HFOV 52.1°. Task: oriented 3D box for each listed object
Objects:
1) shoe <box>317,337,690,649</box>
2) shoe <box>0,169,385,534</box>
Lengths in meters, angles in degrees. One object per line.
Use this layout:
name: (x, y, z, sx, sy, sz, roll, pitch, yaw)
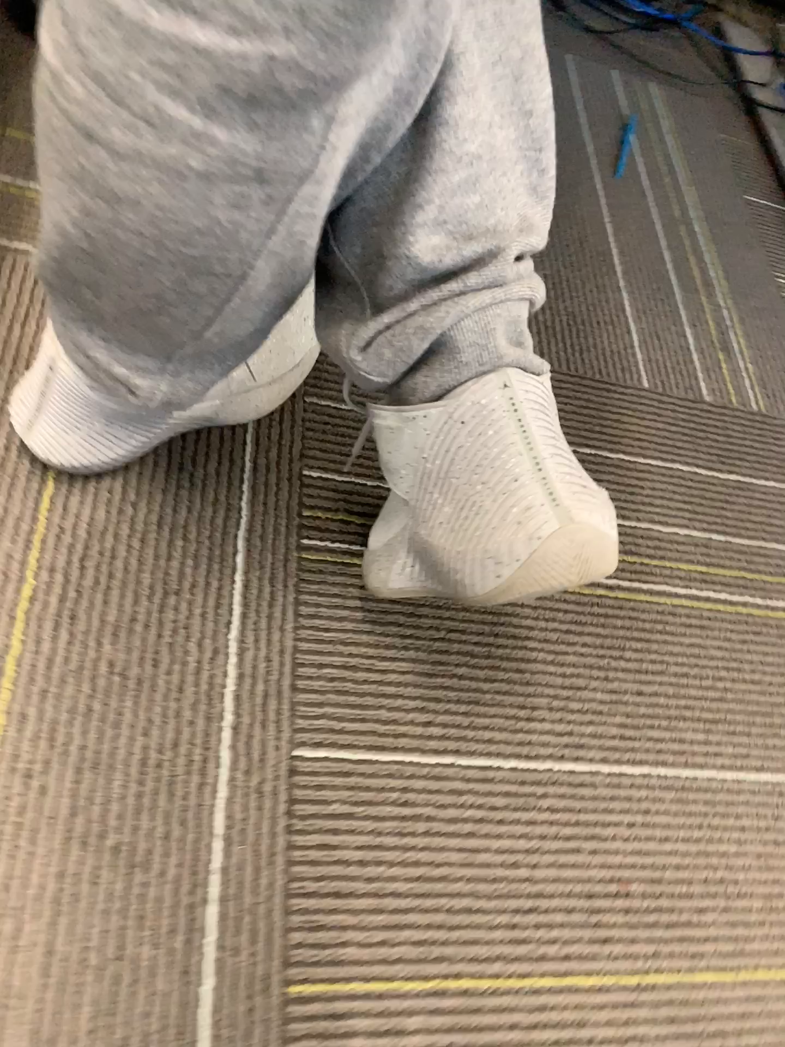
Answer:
shoe: (0.043, -0.009, 0.515, 0.120, 0.280, 0.120, -17, 90, -13)
shoe: (-0.168, -0.143, 0.638, 0.280, 0.150, 0.130, -35, 78, -33)
